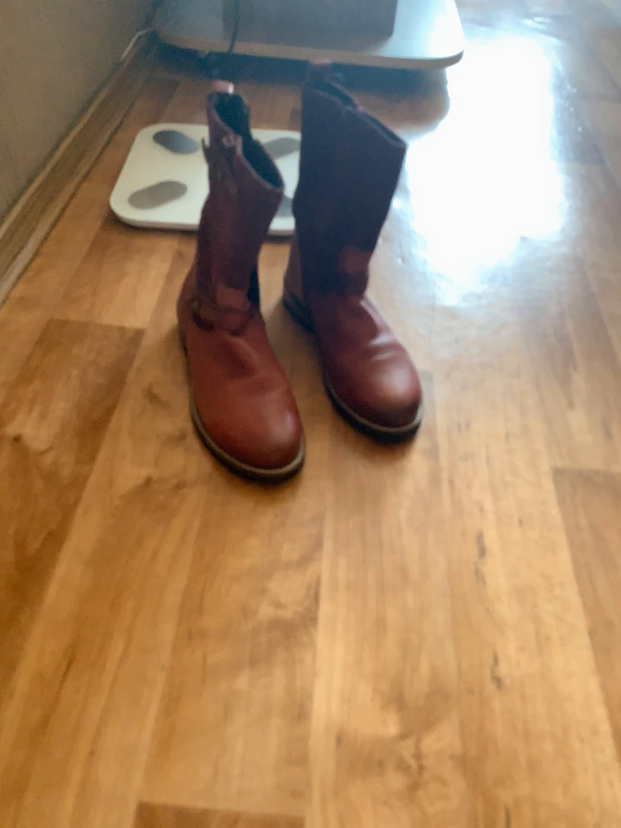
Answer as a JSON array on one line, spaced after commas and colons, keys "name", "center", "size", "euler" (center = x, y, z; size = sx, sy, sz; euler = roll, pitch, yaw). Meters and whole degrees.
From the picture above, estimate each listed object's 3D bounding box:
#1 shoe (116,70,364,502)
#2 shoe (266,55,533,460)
[{"name": "shoe", "center": [-0.068, -0.109, 0.531], "size": [0.100, 0.249, 0.251], "euler": [-15, 50, -17]}, {"name": "shoe", "center": [0.046, -0.139, 0.550], "size": [0.090, 0.239, 0.251], "euler": [-15, 50, -17]}]
